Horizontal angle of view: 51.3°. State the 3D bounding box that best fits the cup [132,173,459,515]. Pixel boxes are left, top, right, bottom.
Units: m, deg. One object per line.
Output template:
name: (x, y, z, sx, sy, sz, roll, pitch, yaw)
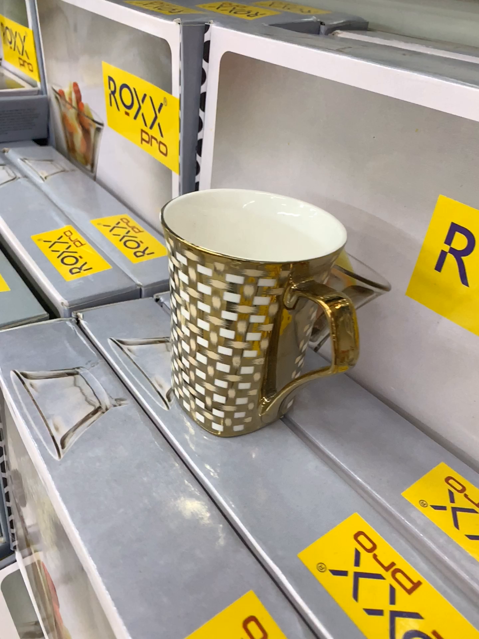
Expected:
cup: (0.013, 0.000, 0.231, 0.083, 0.091, 0.113, -17, 41, -31)
